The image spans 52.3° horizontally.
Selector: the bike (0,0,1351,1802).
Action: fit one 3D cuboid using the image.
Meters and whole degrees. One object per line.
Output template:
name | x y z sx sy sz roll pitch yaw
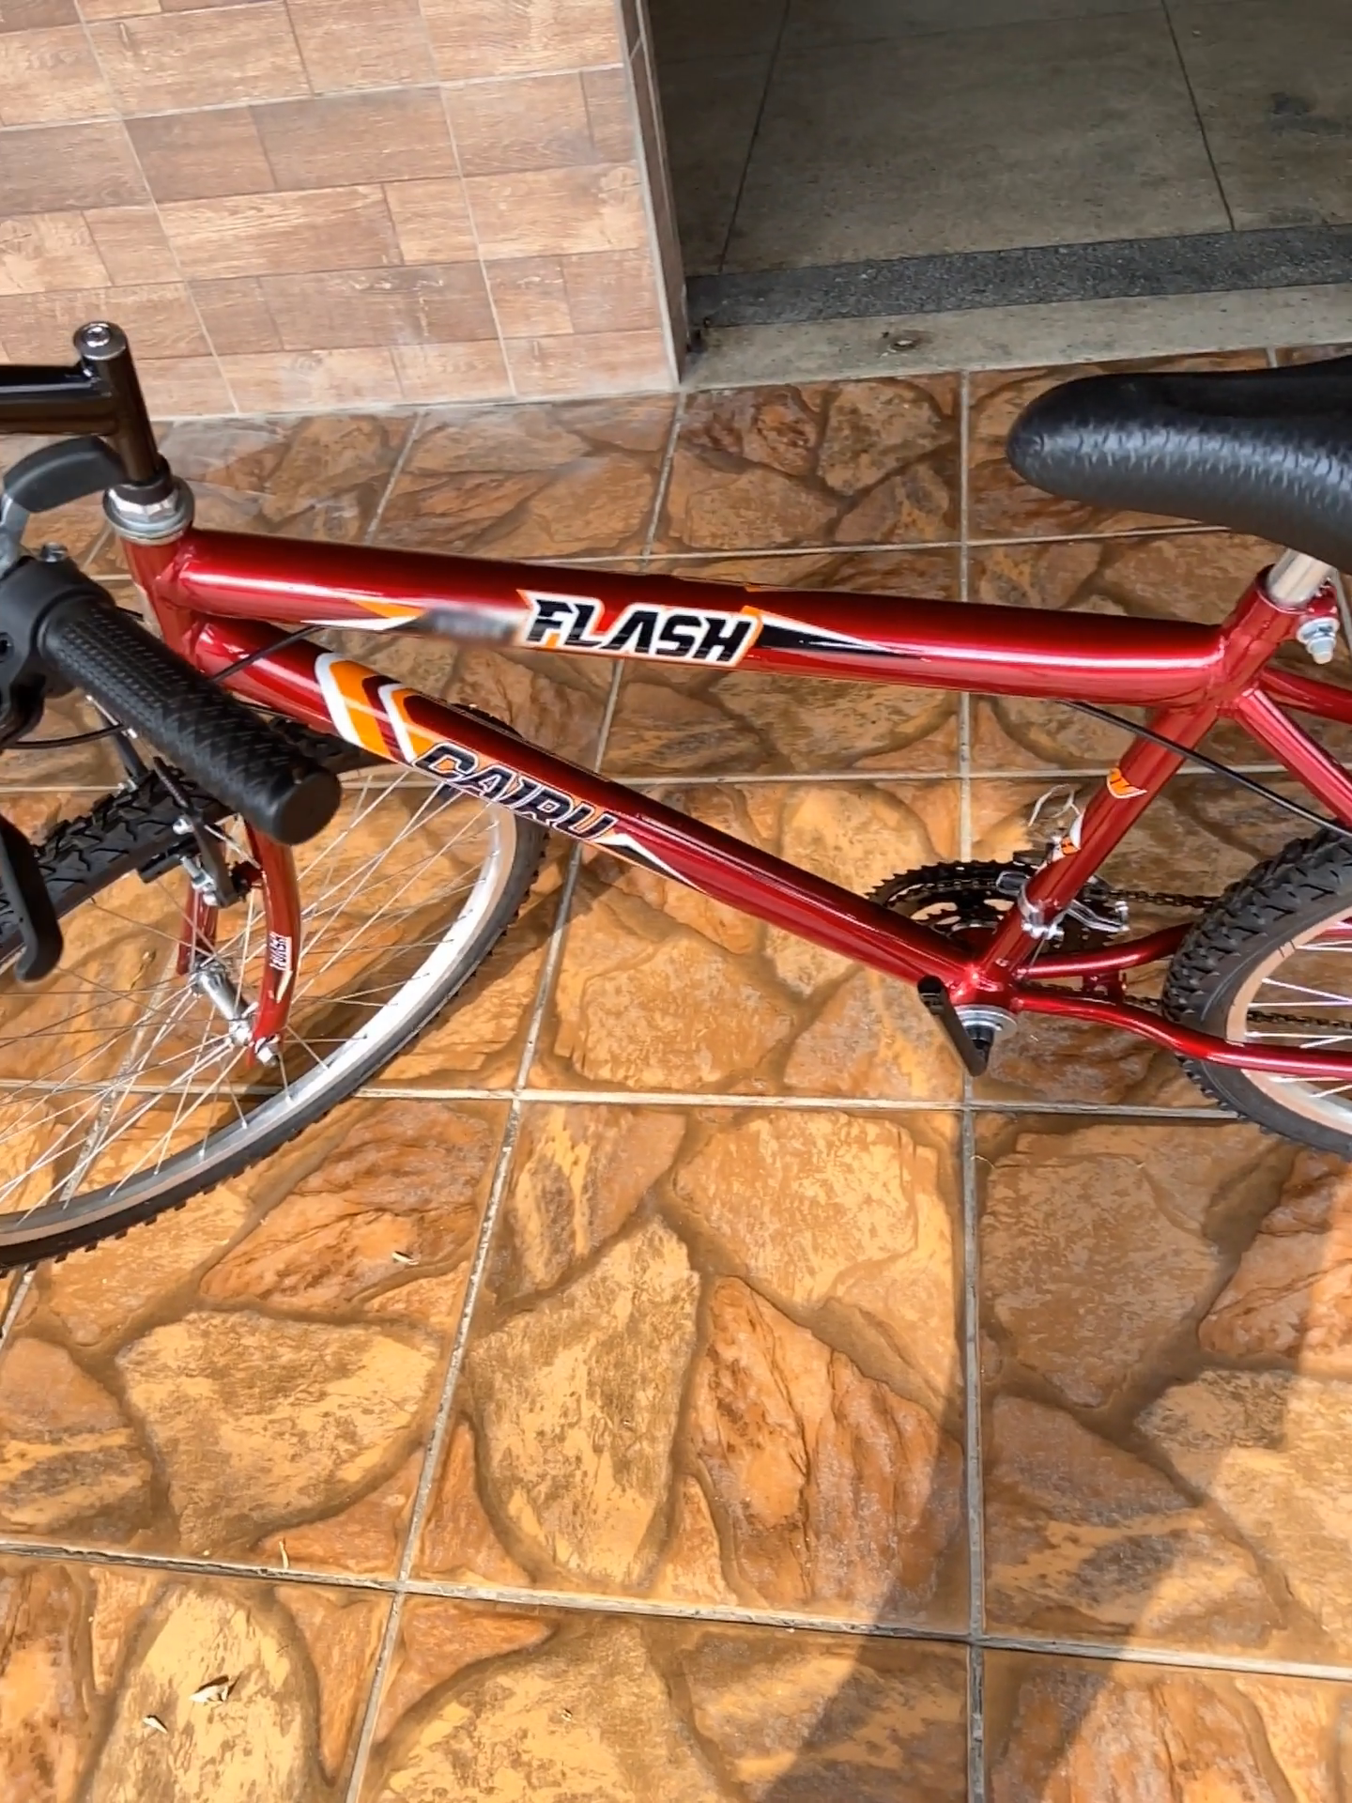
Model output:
bike | 0.125 0.114 0.760 1.555 0.986 0.602 -7 46 9
